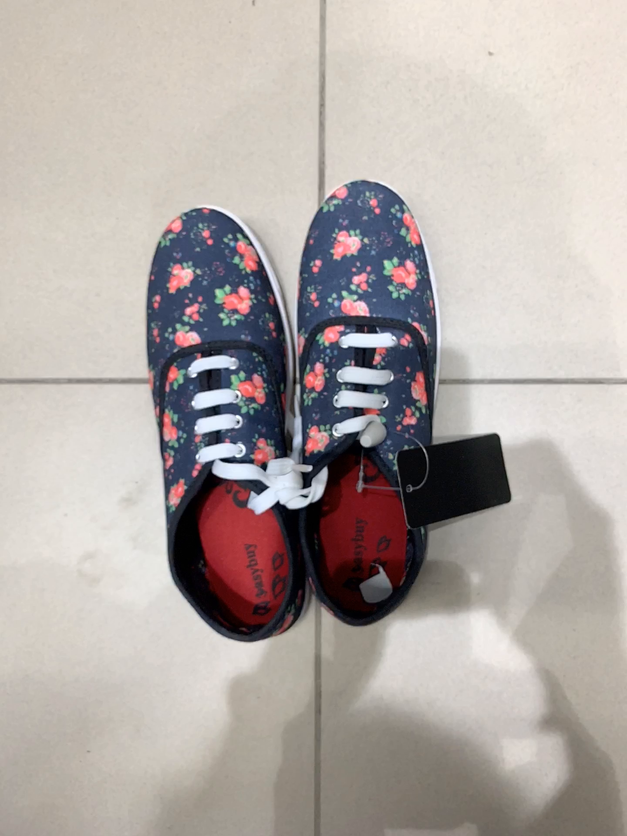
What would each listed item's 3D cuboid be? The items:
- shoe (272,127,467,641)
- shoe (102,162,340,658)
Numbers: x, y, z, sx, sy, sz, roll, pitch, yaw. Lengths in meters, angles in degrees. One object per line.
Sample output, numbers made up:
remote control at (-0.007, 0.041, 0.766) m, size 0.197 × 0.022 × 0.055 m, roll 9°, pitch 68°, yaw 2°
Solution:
shoe at (0.032, -0.018, 0.385) m, size 0.100 × 0.080 × 0.270 m, roll -1°, pitch 88°, yaw 6°
shoe at (-0.053, -0.004, 0.407) m, size 0.100 × 0.080 × 0.270 m, roll -8°, pitch 87°, yaw 6°
